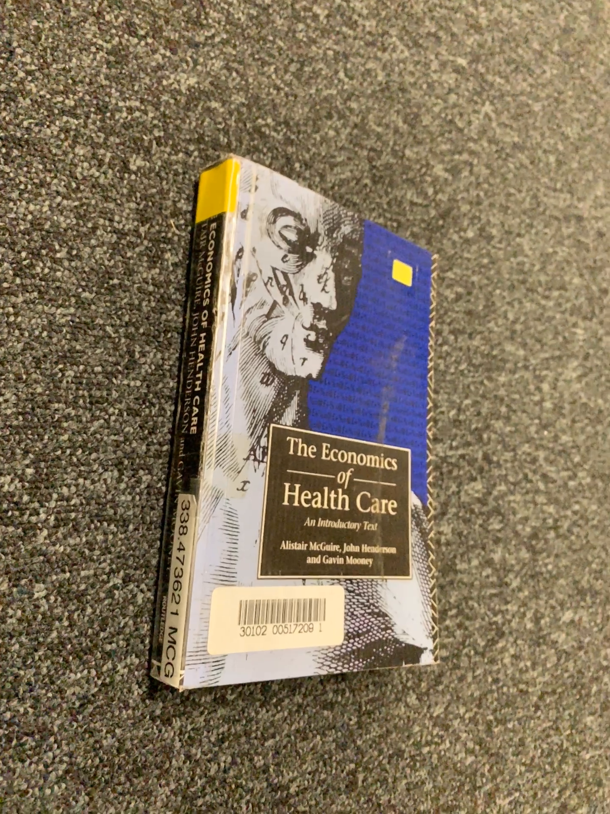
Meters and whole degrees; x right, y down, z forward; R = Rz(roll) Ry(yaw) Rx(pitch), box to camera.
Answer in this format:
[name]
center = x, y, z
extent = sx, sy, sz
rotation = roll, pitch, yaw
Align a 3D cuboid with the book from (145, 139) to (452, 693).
[book]
center = 0.009, 0.008, 0.286
extent = 0.136, 0.030, 0.207
rotation = 13, 76, -38
